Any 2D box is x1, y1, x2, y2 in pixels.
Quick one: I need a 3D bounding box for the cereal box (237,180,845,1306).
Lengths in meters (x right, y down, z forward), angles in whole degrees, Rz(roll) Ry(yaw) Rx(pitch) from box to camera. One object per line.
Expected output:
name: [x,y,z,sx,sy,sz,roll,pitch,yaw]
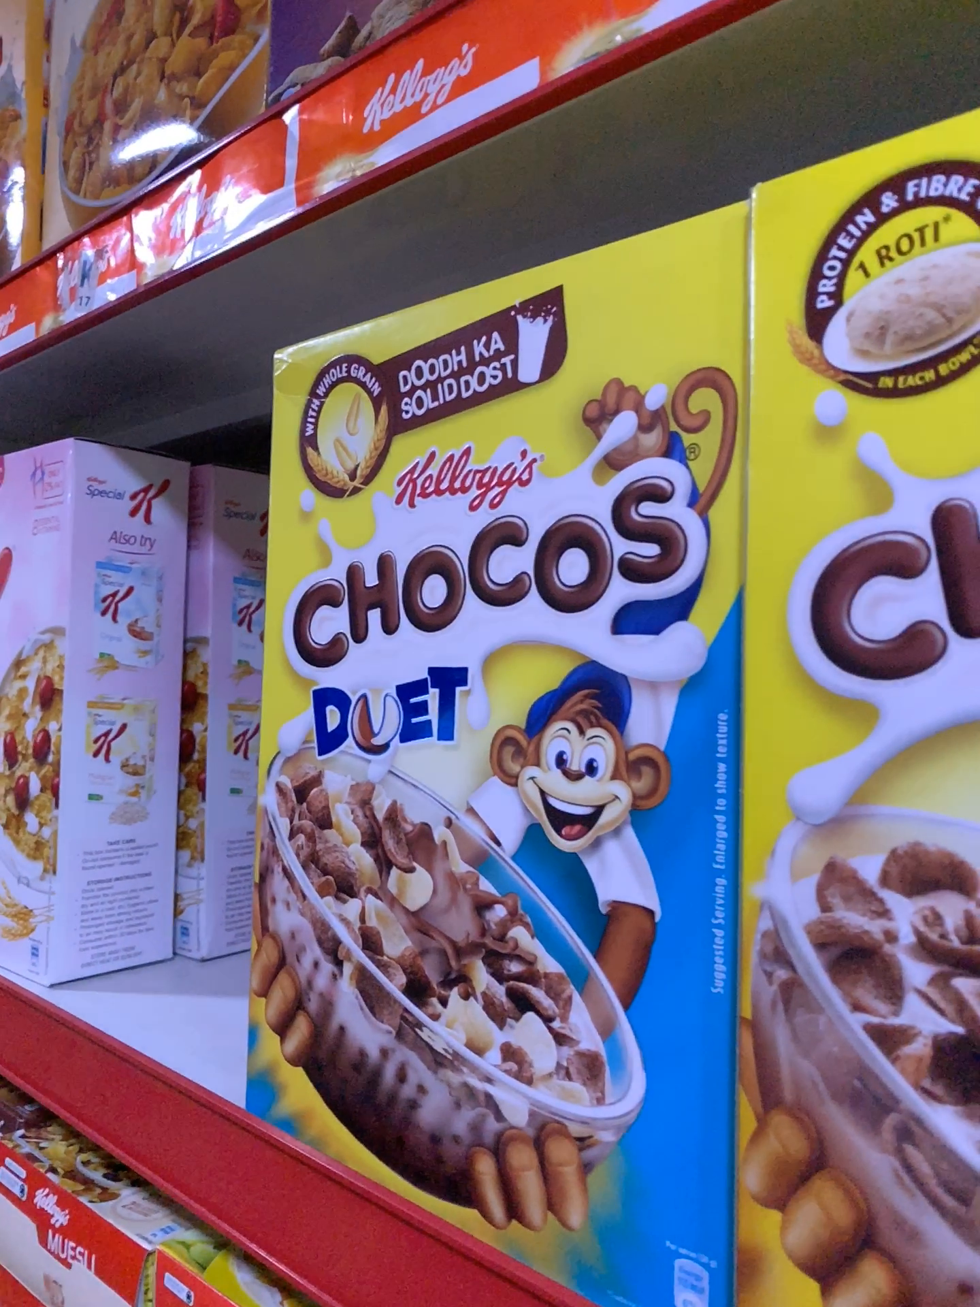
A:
cereal box: [0.005,0.027,0.288,0.170,0.250,0.060,-1,-3,43]
